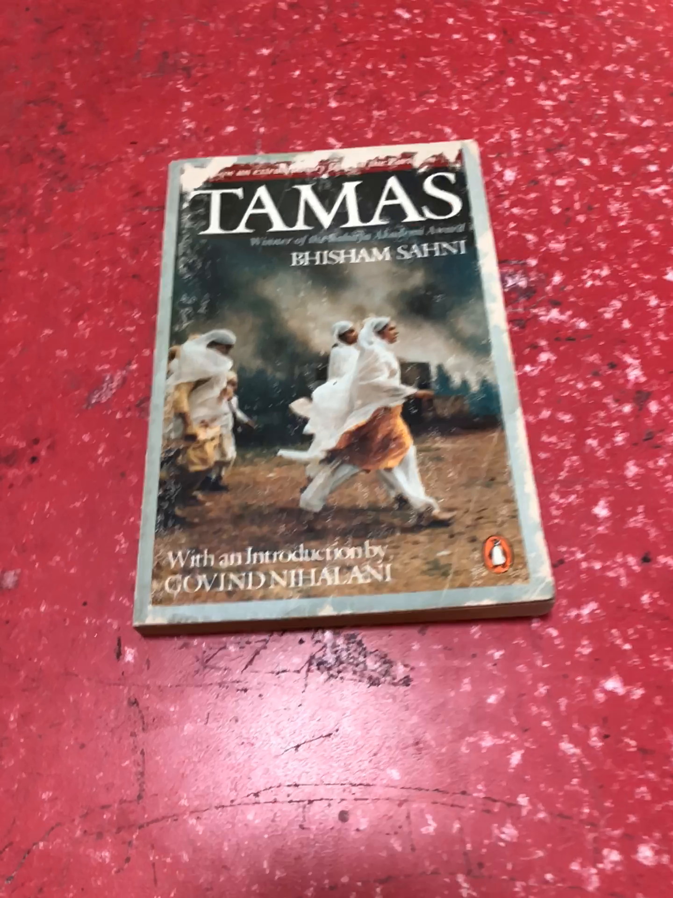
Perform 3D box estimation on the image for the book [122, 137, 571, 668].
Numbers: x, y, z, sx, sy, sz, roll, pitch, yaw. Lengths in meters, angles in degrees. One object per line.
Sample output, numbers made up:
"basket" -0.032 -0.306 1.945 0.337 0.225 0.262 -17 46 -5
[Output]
"book" -0.002 -0.029 0.271 0.130 0.020 0.200 -4 63 1
